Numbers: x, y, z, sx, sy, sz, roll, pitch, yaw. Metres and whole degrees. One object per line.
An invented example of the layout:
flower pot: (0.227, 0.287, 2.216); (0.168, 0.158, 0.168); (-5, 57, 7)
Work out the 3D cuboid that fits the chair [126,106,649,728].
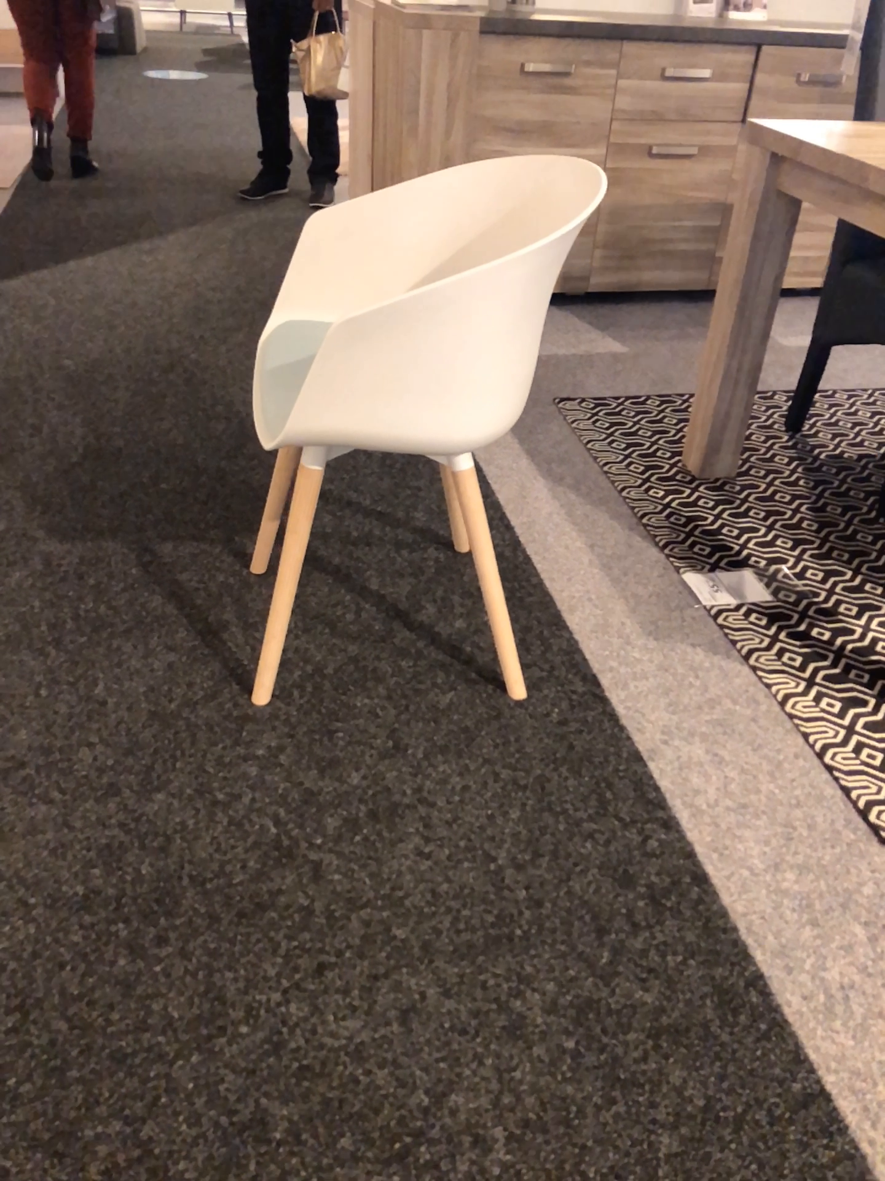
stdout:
chair: (-0.109, -0.281, 1.498); (0.581, 0.765, 0.553); (-3, 33, -9)
